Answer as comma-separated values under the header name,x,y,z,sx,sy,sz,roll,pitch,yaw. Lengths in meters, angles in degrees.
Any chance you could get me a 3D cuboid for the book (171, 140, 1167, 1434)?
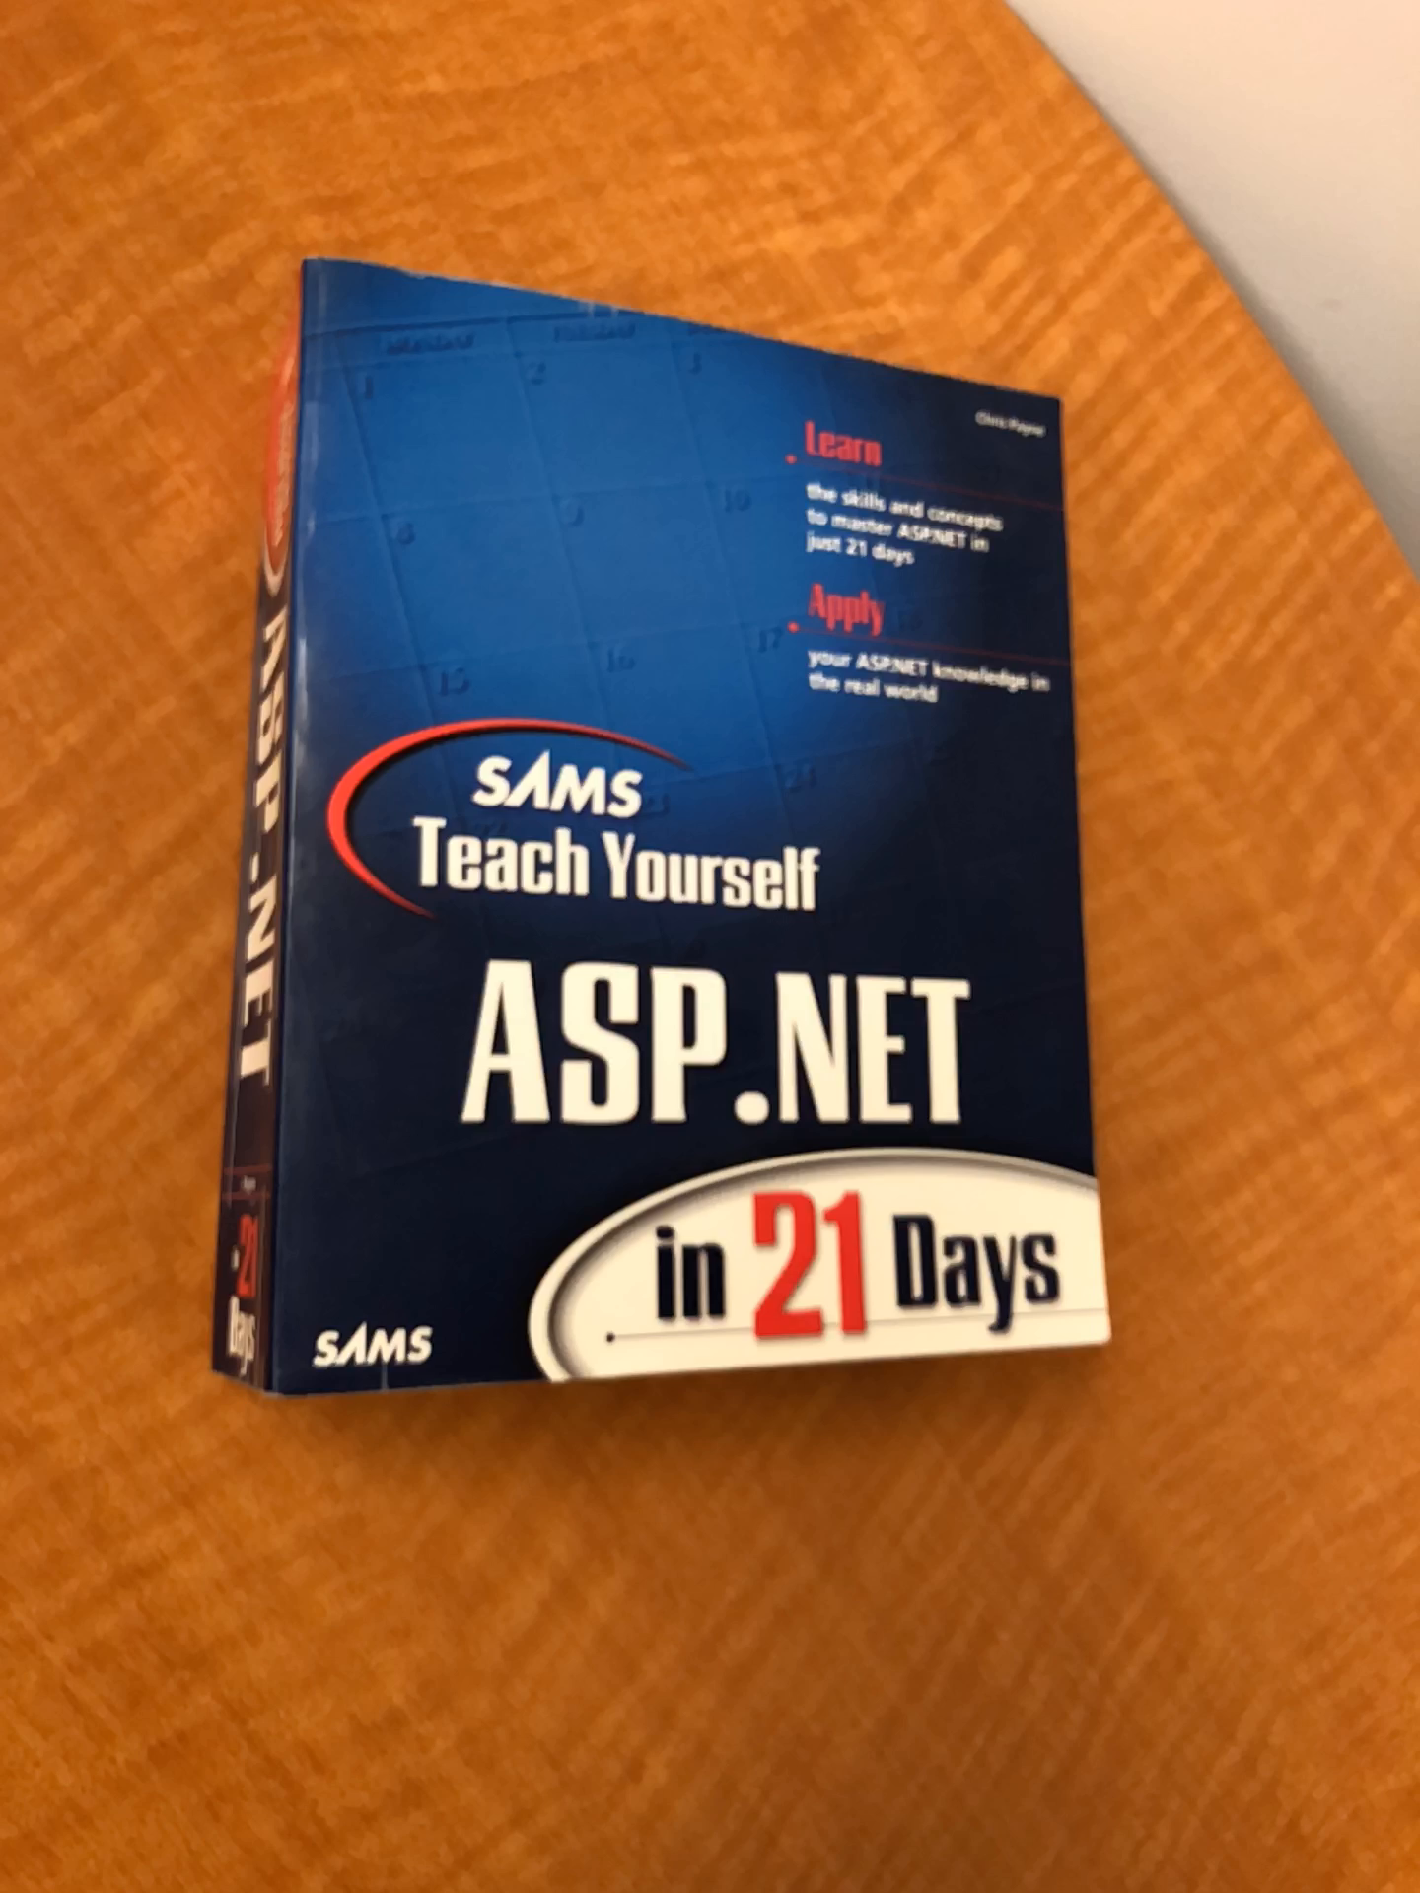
name,x,y,z,sx,sy,sz,roll,pitch,yaw
book,-0.003,-0.023,0.356,0.200,0.070,0.240,6,80,-23
